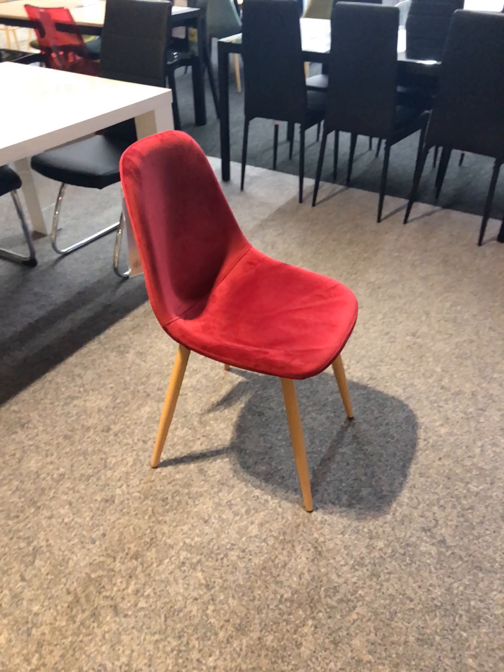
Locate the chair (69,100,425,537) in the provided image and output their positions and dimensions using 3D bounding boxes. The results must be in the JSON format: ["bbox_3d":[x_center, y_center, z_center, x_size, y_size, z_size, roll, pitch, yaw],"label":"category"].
[{"bbox_3d":[0.023,-0.061,1.366,0.550,0.815,0.533,16,39,20],"label":"chair"}]
